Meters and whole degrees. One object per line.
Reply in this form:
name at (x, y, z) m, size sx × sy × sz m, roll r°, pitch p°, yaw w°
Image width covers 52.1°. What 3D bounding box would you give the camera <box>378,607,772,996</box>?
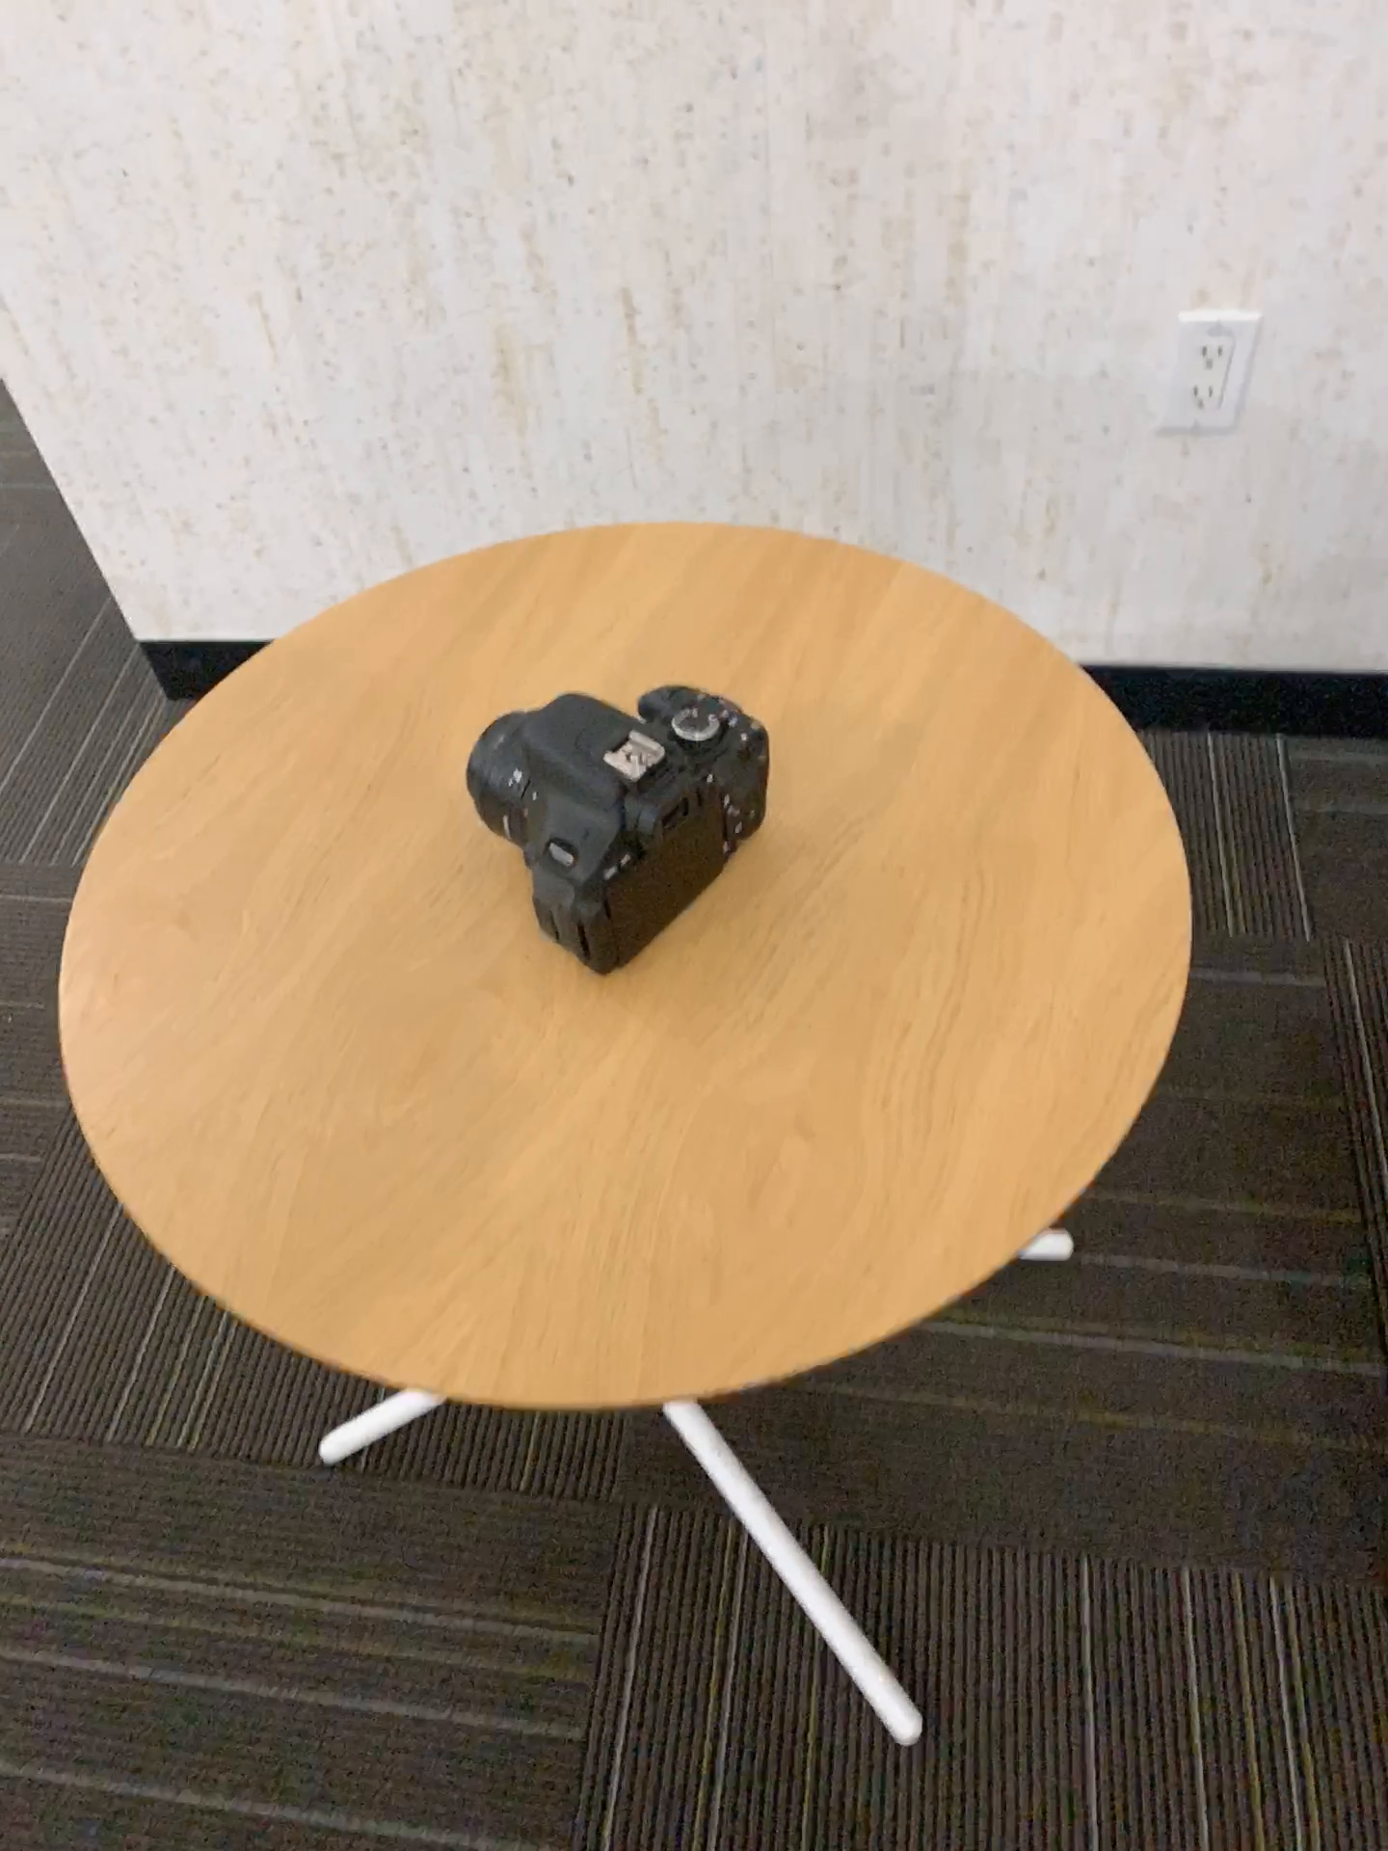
camera at (-0.051, -0.061, 0.658) m, size 0.126 × 0.080 × 0.120 m, roll 31°, pitch 61°, yaw 25°
